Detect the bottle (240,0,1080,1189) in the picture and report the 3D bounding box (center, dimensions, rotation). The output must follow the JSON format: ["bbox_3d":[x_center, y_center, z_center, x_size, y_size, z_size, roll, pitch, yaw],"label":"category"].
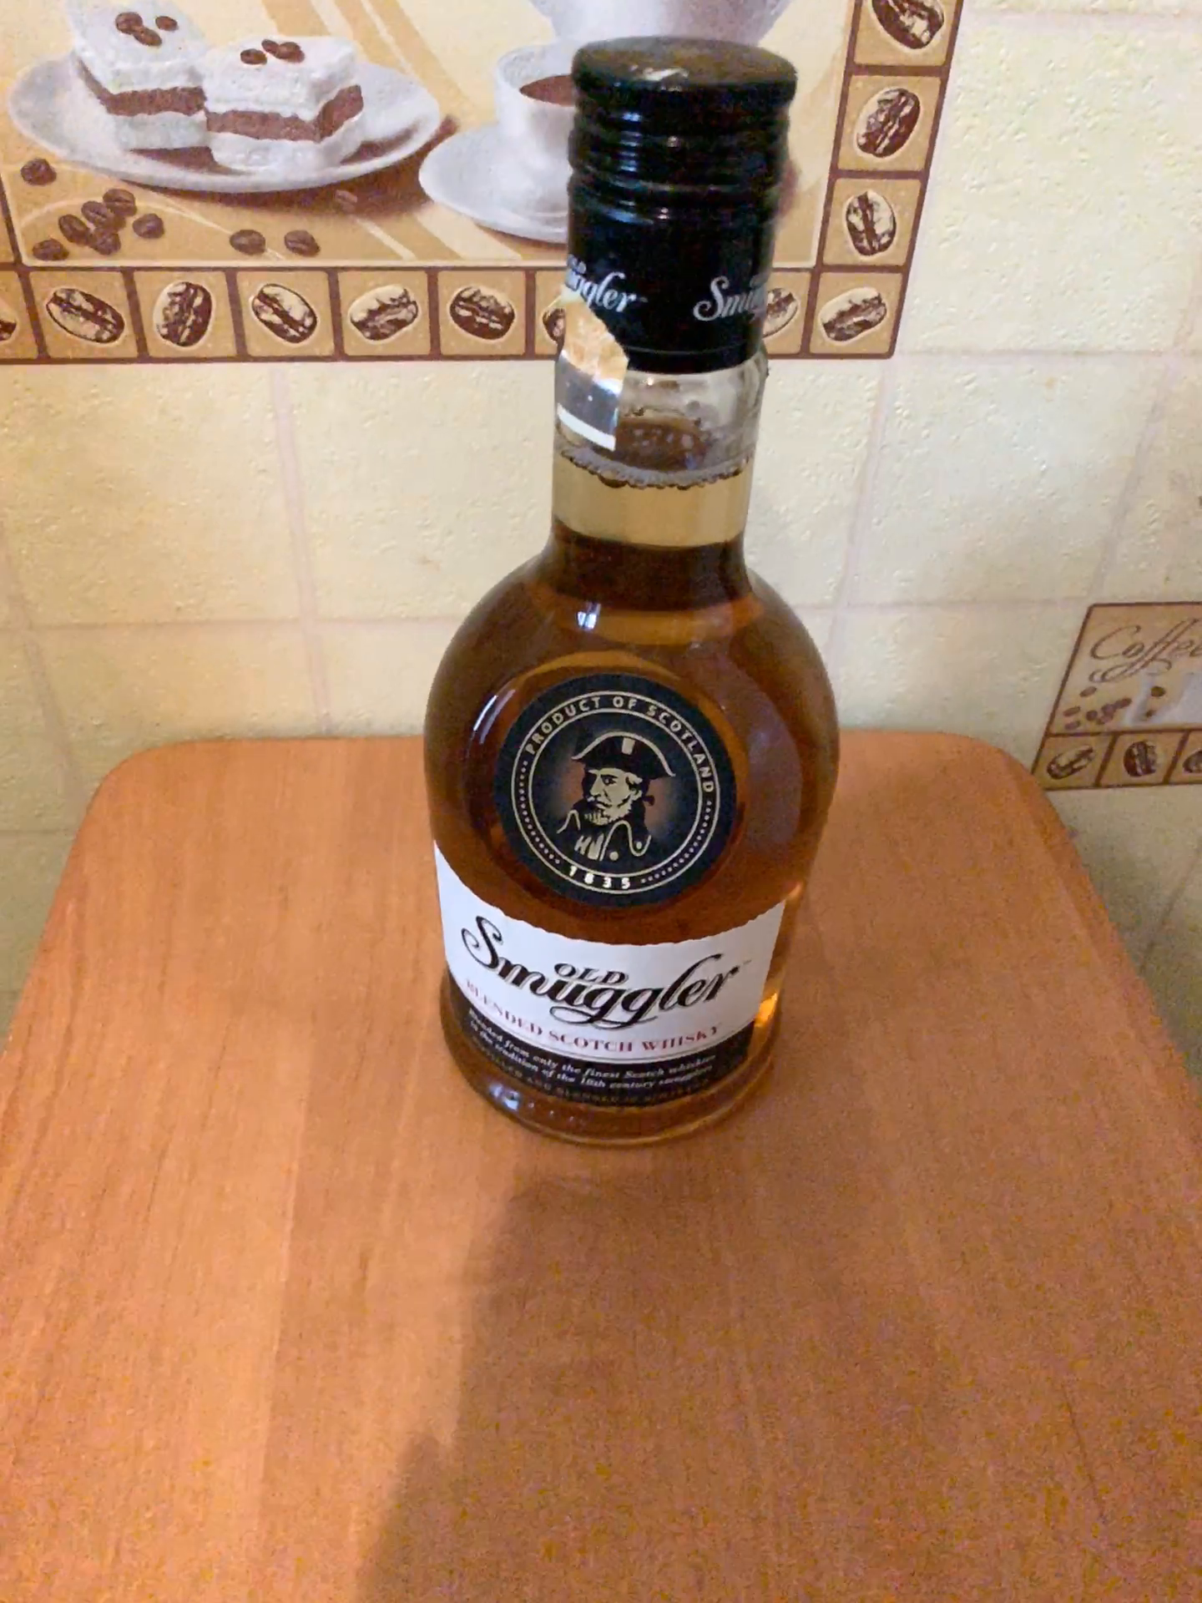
[{"bbox_3d":[0.007,-0.029,0.251,0.100,0.229,0.080,8,41,6],"label":"bottle"}]
